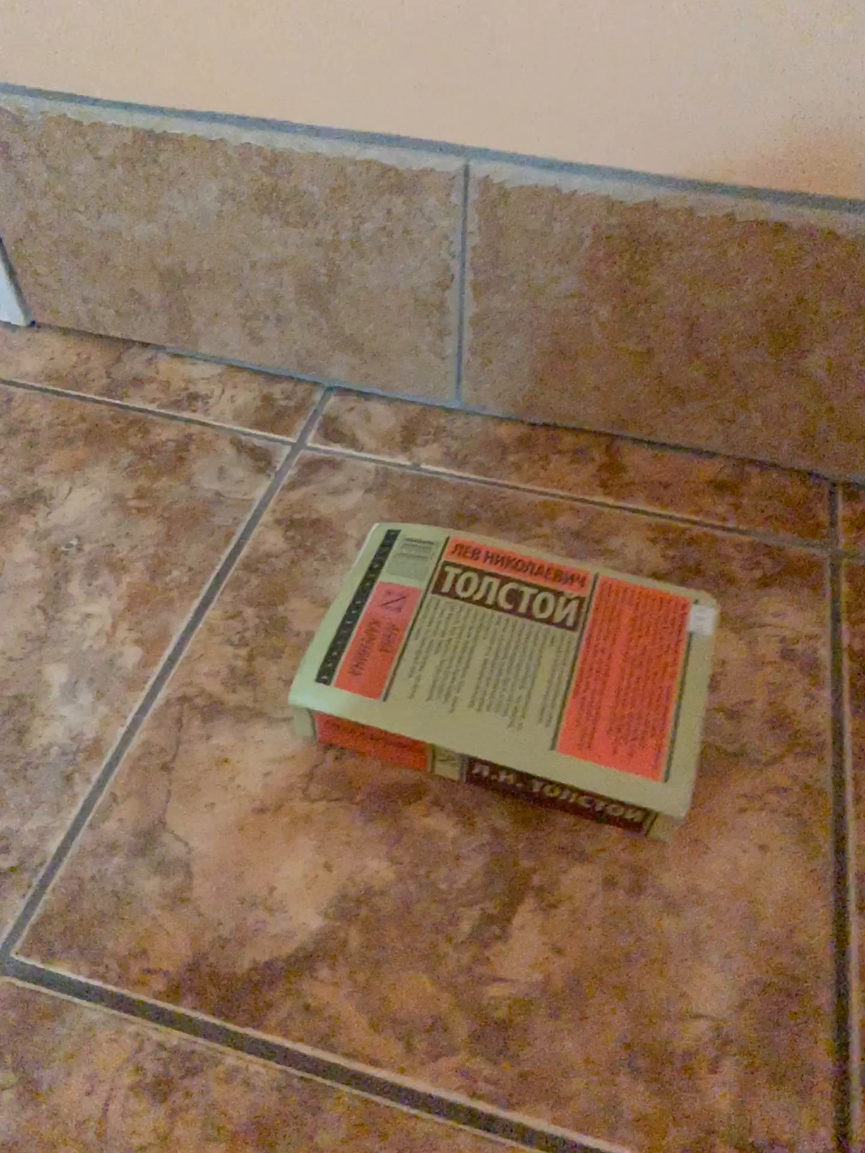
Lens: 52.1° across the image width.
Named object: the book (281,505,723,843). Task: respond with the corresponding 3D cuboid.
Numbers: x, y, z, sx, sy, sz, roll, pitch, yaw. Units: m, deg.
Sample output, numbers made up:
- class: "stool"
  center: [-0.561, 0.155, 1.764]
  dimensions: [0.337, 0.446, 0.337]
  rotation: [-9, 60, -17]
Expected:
- class: "book"
  center: [0.038, 0.041, 0.433]
  dimensions: [0.185, 0.044, 0.120]
  rotation: [13, 50, 10]
